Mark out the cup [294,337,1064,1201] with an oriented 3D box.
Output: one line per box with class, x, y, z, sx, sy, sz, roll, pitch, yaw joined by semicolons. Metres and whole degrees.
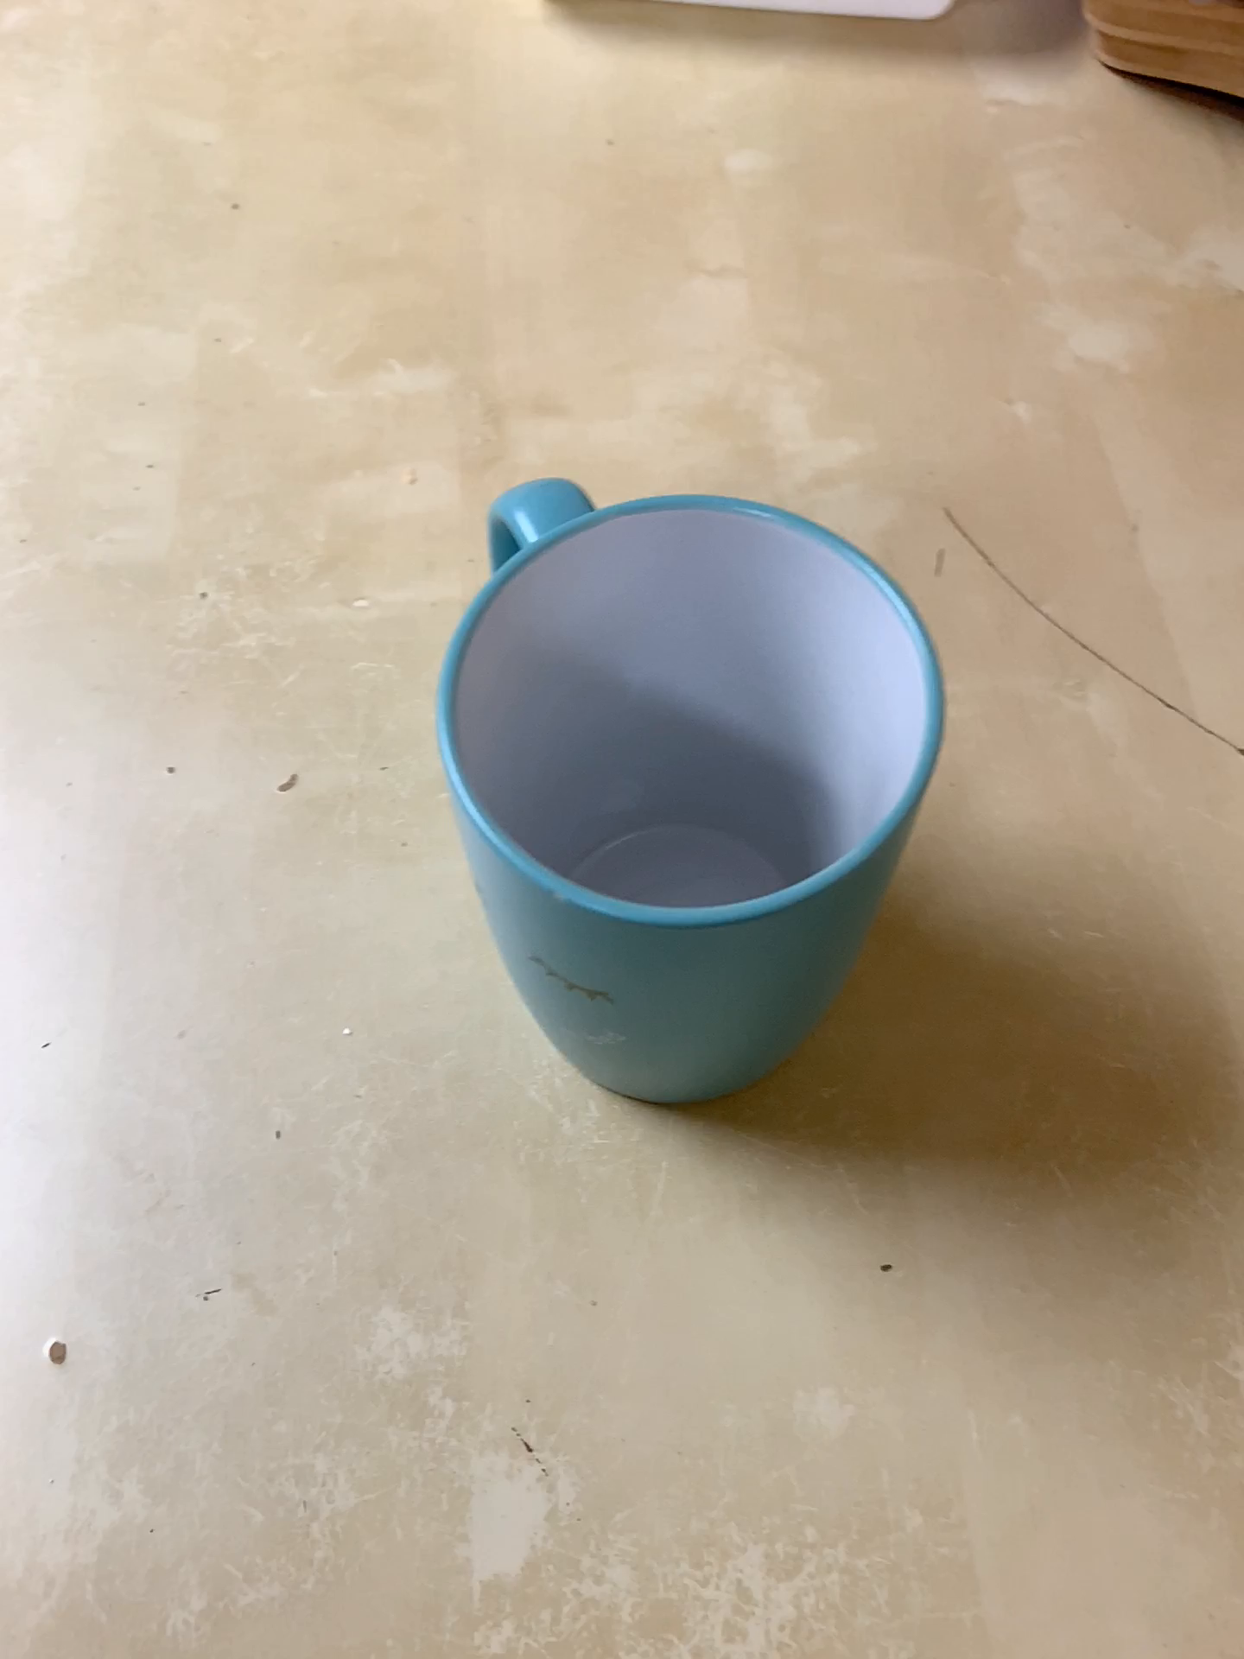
cup;0.006;-0.009;0.278;0.091;0.114;0.122;-24;63;-12
